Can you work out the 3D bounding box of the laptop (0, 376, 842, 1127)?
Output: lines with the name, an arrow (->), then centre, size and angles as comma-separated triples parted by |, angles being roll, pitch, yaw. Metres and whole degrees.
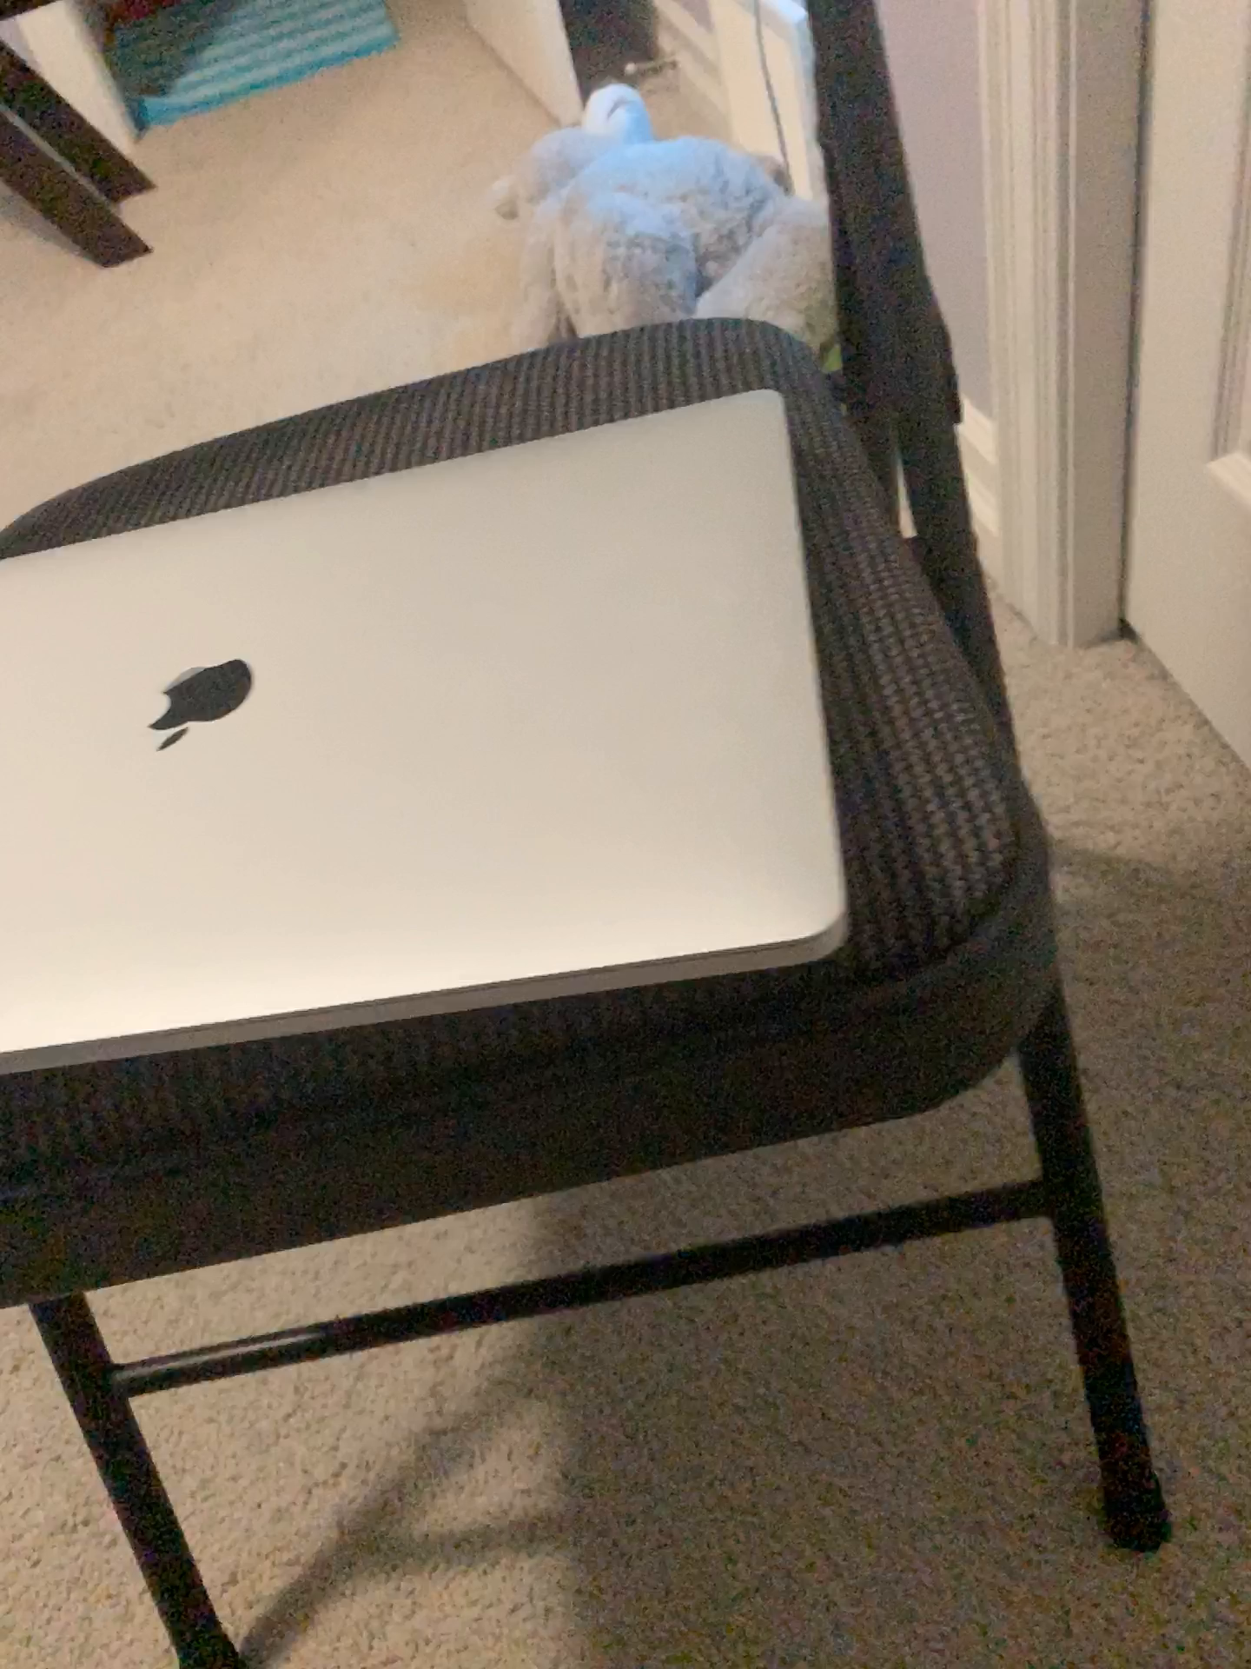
laptop -> -0.118, -0.036, 0.361 | 0.332, 0.001, 0.225 | -10, 46, 11
